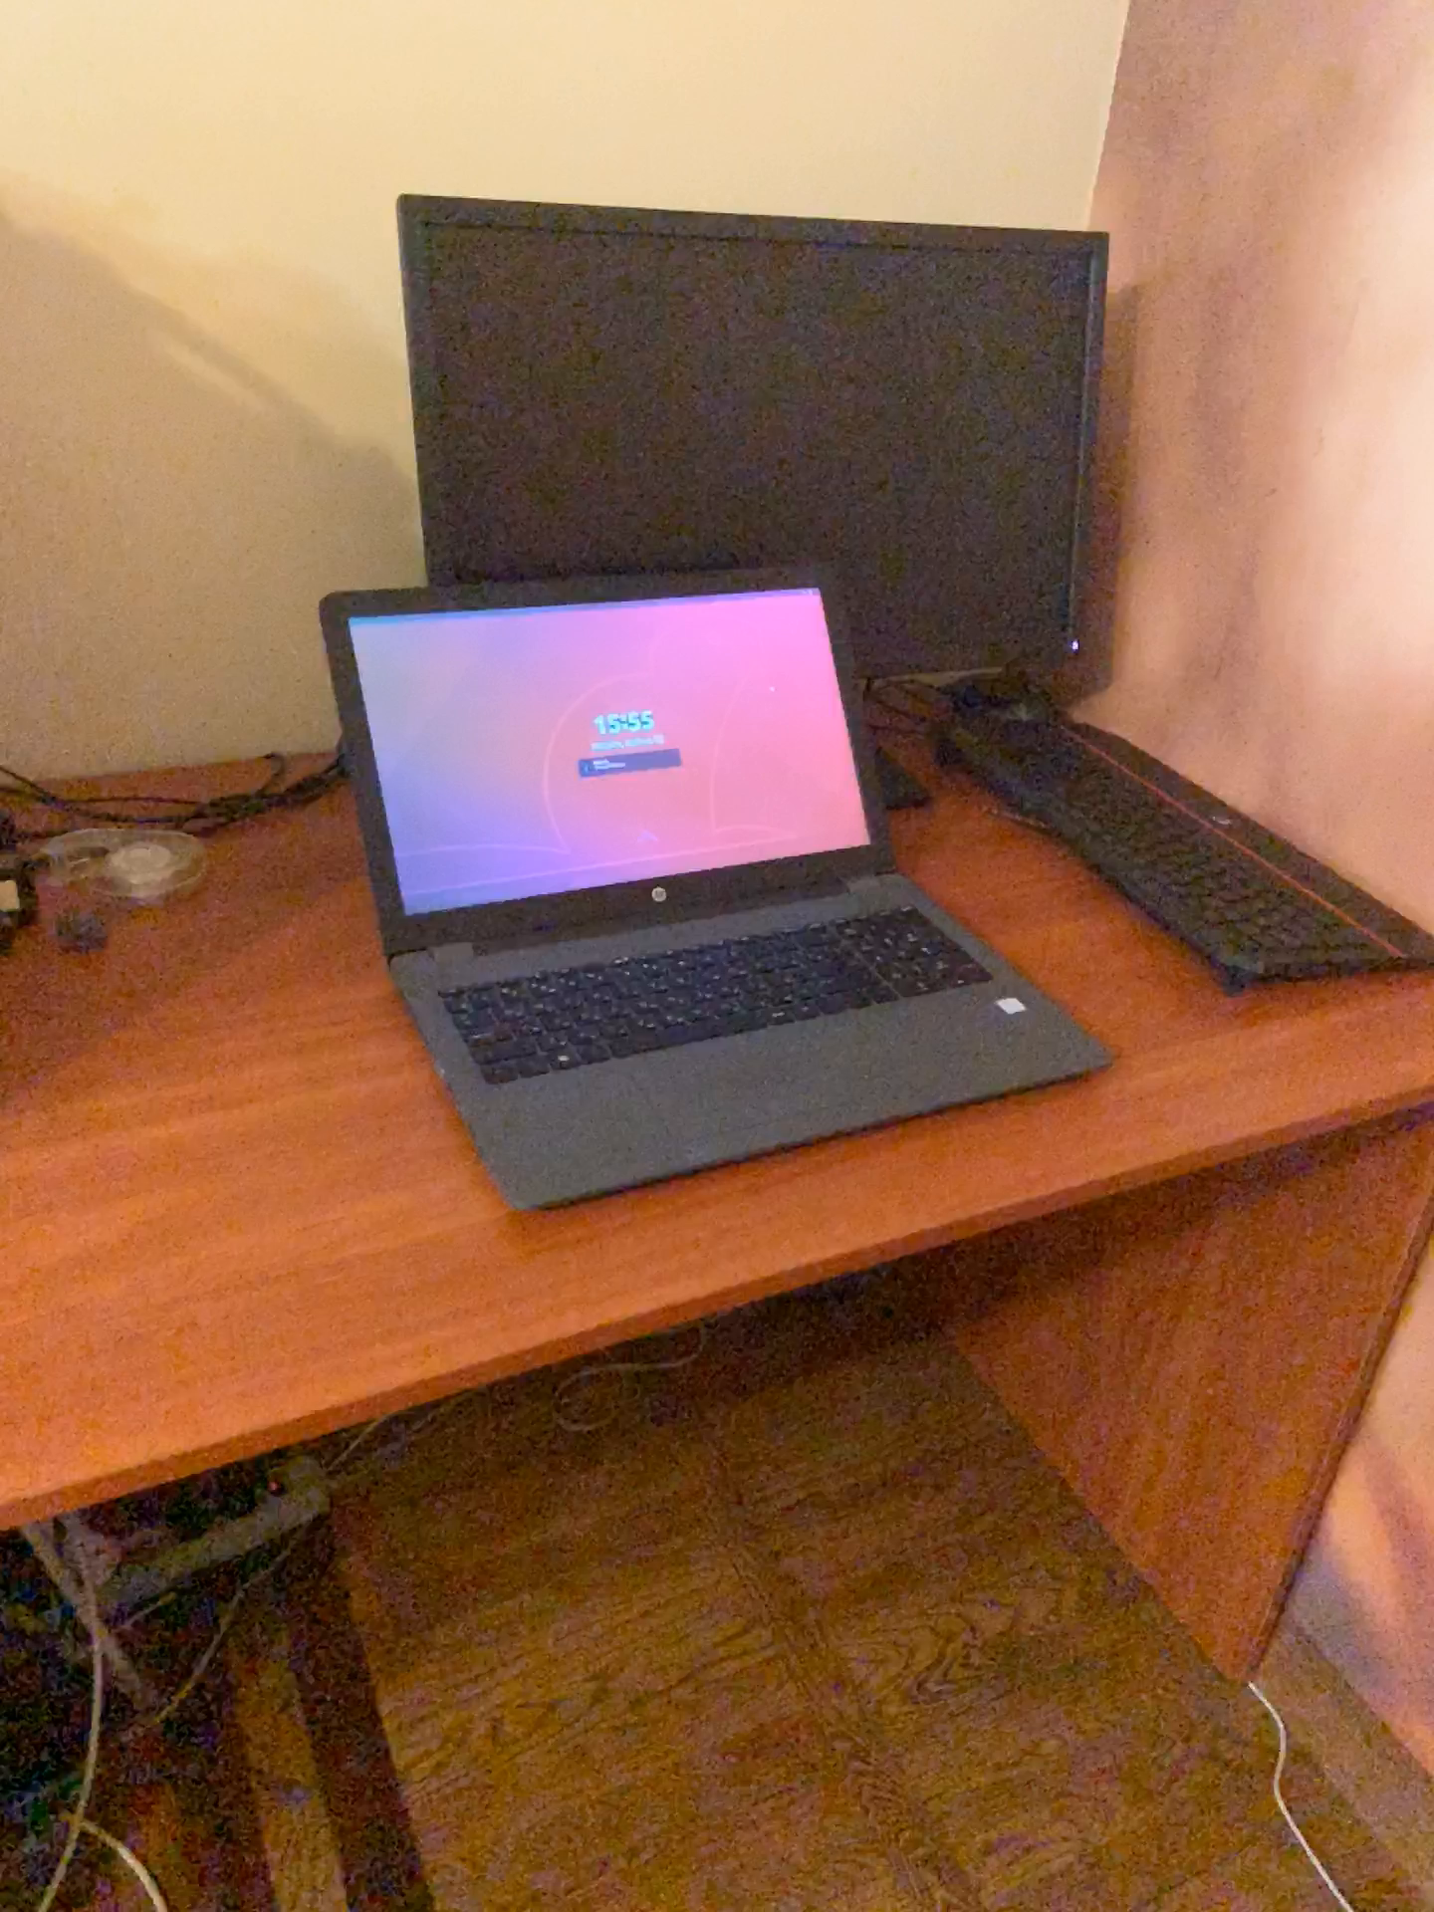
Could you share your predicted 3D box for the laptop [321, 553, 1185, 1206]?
[{"bbox_3d":[-0.006,-0.085,0.873,0.366,0.181,0.376,-10,35,-24],"label":"laptop"}]
